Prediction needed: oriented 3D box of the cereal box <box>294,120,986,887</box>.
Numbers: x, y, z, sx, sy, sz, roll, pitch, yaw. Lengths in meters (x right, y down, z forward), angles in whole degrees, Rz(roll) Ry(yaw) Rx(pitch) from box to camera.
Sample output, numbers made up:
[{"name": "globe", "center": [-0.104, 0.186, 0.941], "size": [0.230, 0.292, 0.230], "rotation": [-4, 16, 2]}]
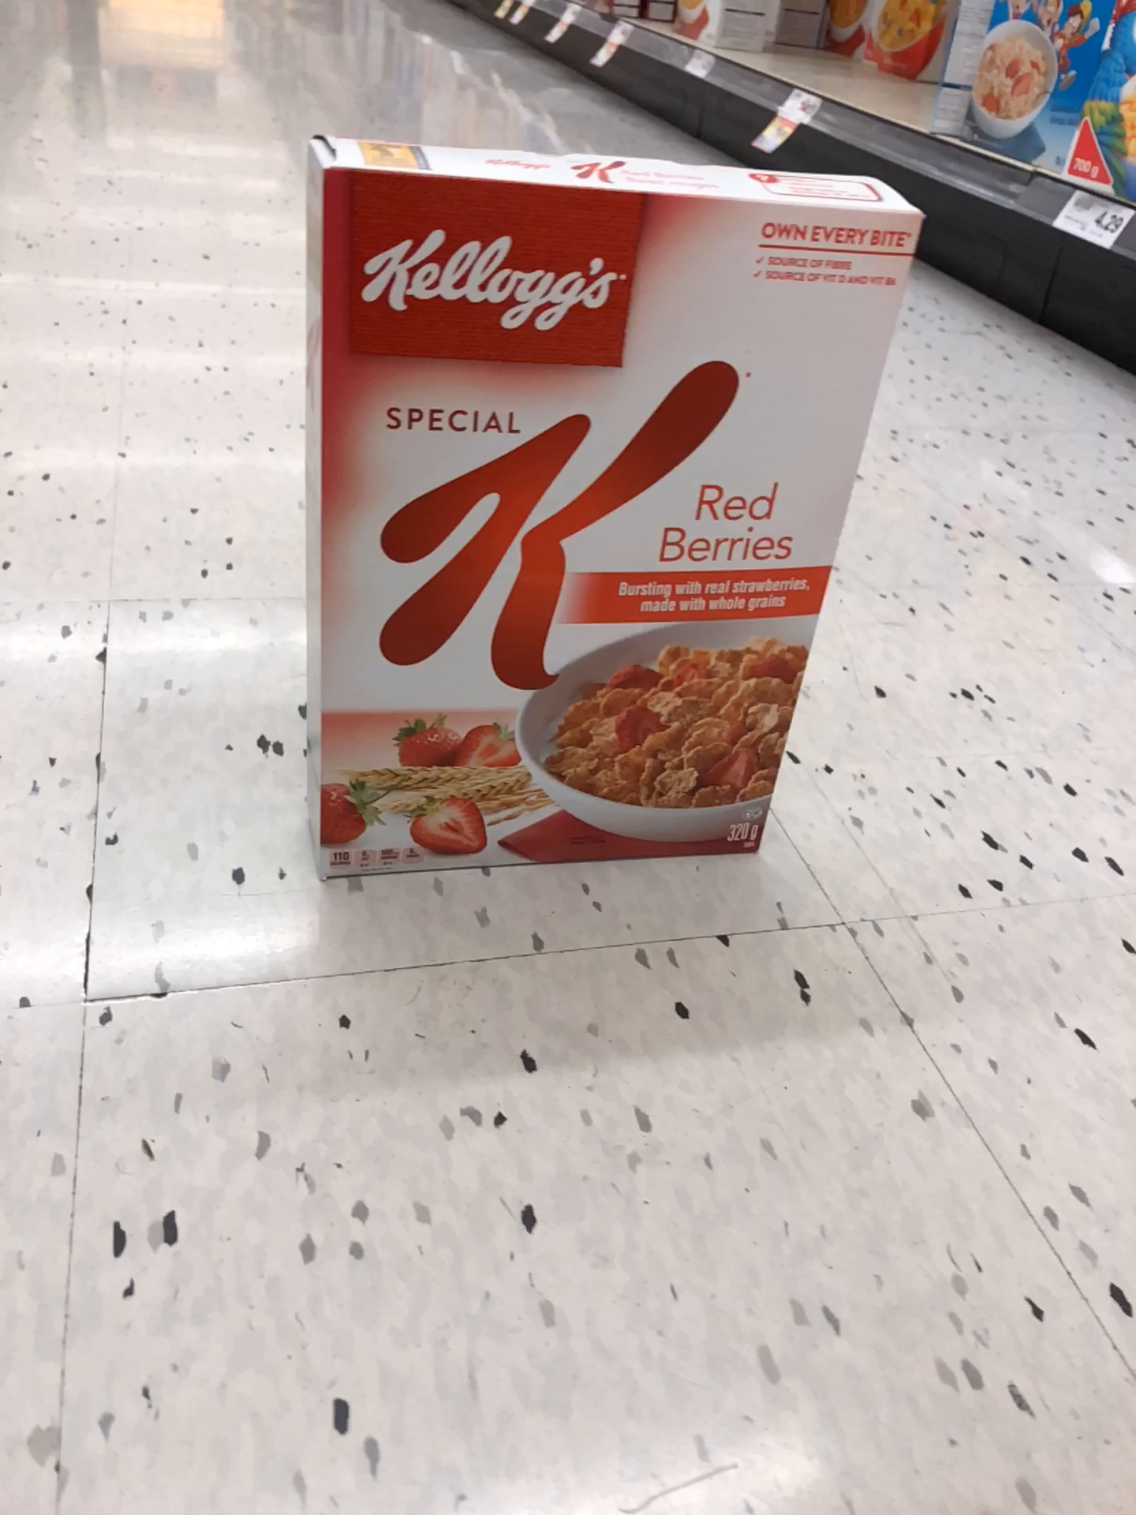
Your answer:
[{"name": "cereal box", "center": [0.008, -0.078, 0.463], "size": [0.210, 0.258, 0.060], "rotation": [-2, 35, -15]}]
